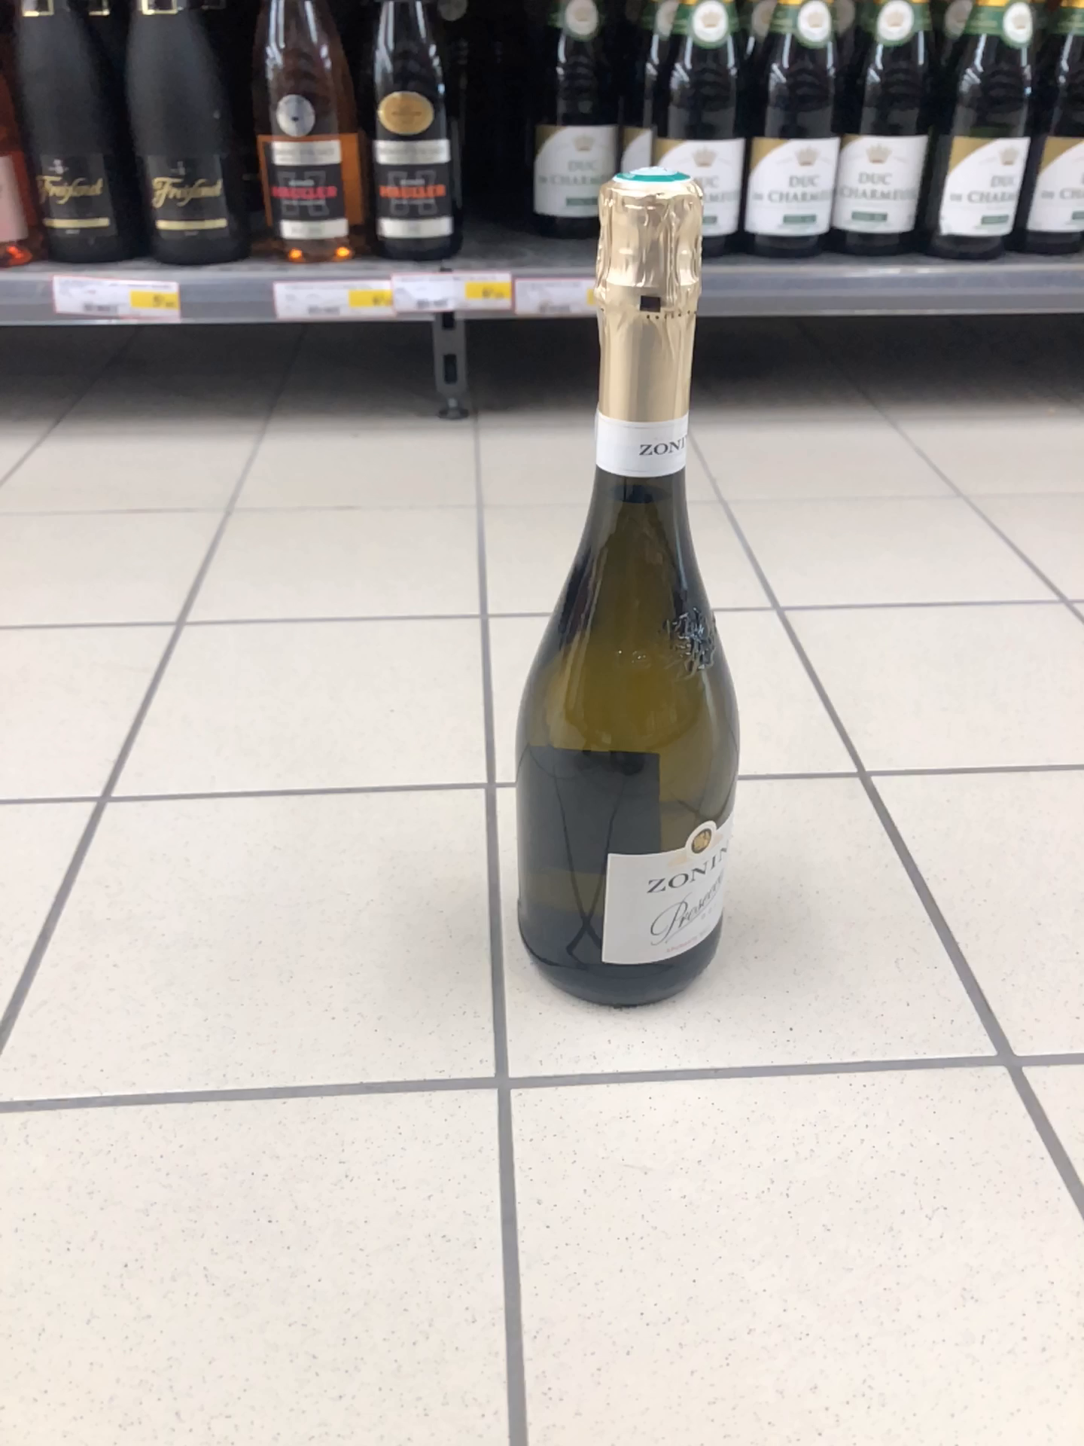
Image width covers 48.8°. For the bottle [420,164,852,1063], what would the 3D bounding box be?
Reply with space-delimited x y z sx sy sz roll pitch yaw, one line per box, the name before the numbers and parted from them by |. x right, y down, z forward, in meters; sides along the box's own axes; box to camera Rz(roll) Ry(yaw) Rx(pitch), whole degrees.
bottle | 0.029 -0.034 0.450 0.100 0.308 0.090 -23 38 -35
